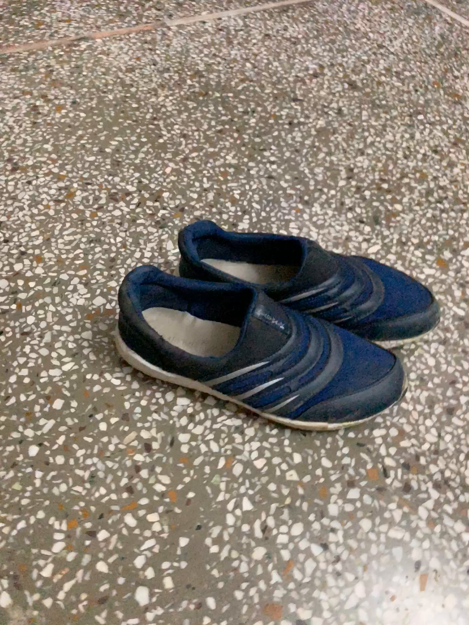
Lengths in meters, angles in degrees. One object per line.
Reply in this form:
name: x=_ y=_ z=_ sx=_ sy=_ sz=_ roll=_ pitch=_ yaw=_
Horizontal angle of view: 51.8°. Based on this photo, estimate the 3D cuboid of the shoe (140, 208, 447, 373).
shoe: x=0.055 y=-0.021 z=0.505 sx=0.280 sy=0.096 sz=0.103 roll=7 pitch=55 yaw=0

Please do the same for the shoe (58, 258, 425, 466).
shoe: x=0.009 y=0.043 z=0.428 sx=0.284 sy=0.080 sz=0.103 roll=11 pitch=55 yaw=3
